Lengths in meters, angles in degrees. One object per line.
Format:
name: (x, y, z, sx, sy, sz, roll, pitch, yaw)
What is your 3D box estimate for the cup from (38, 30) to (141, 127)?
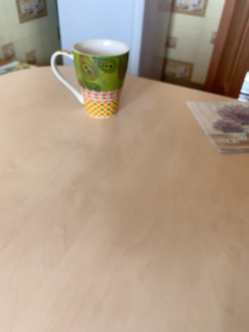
cup: (-0.052, -0.154, 0.451, 0.130, 0.109, 0.110, 13, 41, 11)
